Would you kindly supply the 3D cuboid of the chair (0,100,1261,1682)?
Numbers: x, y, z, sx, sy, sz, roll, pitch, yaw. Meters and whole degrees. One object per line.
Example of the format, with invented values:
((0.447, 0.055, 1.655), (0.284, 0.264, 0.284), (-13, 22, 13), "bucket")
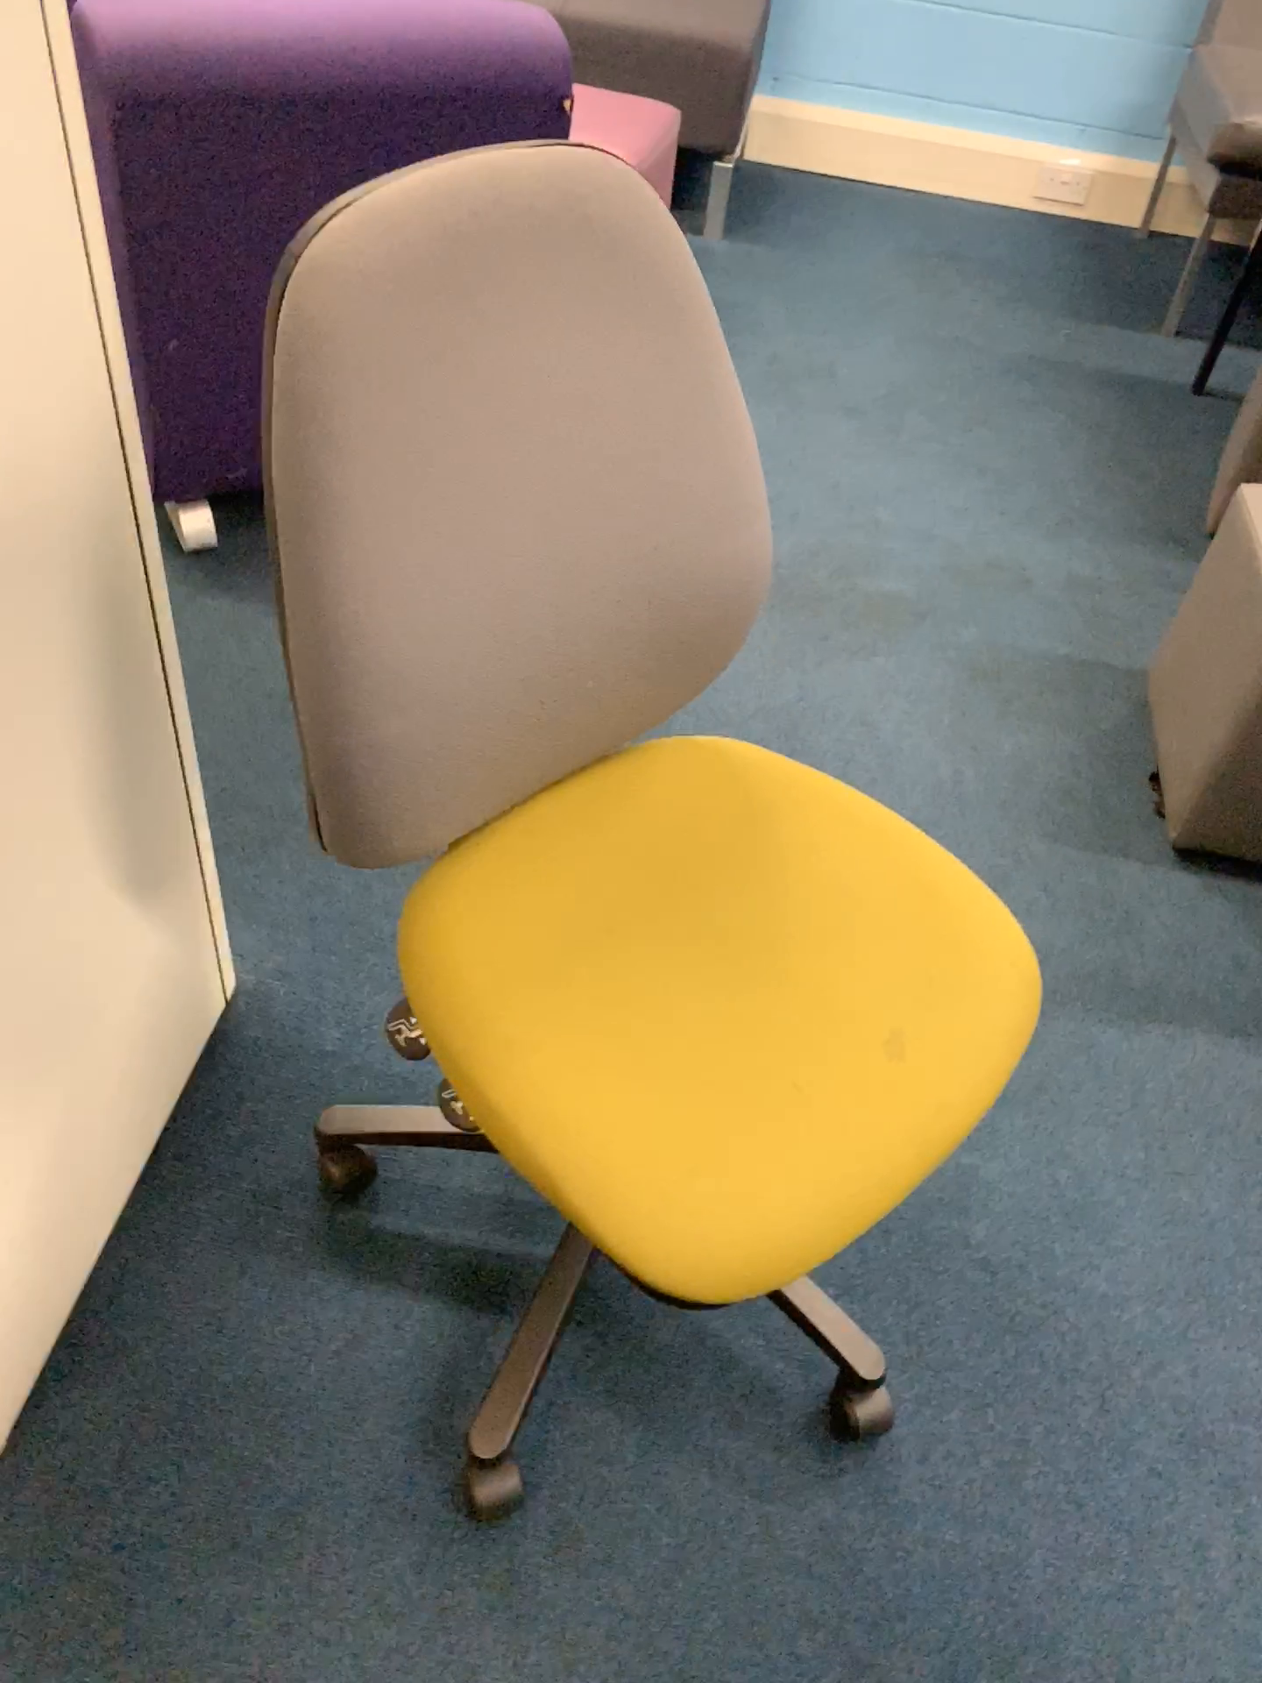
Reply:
((0.055, 0.059, 1.020), (0.663, 0.921, 0.644), (36, 51, 26), "chair")
